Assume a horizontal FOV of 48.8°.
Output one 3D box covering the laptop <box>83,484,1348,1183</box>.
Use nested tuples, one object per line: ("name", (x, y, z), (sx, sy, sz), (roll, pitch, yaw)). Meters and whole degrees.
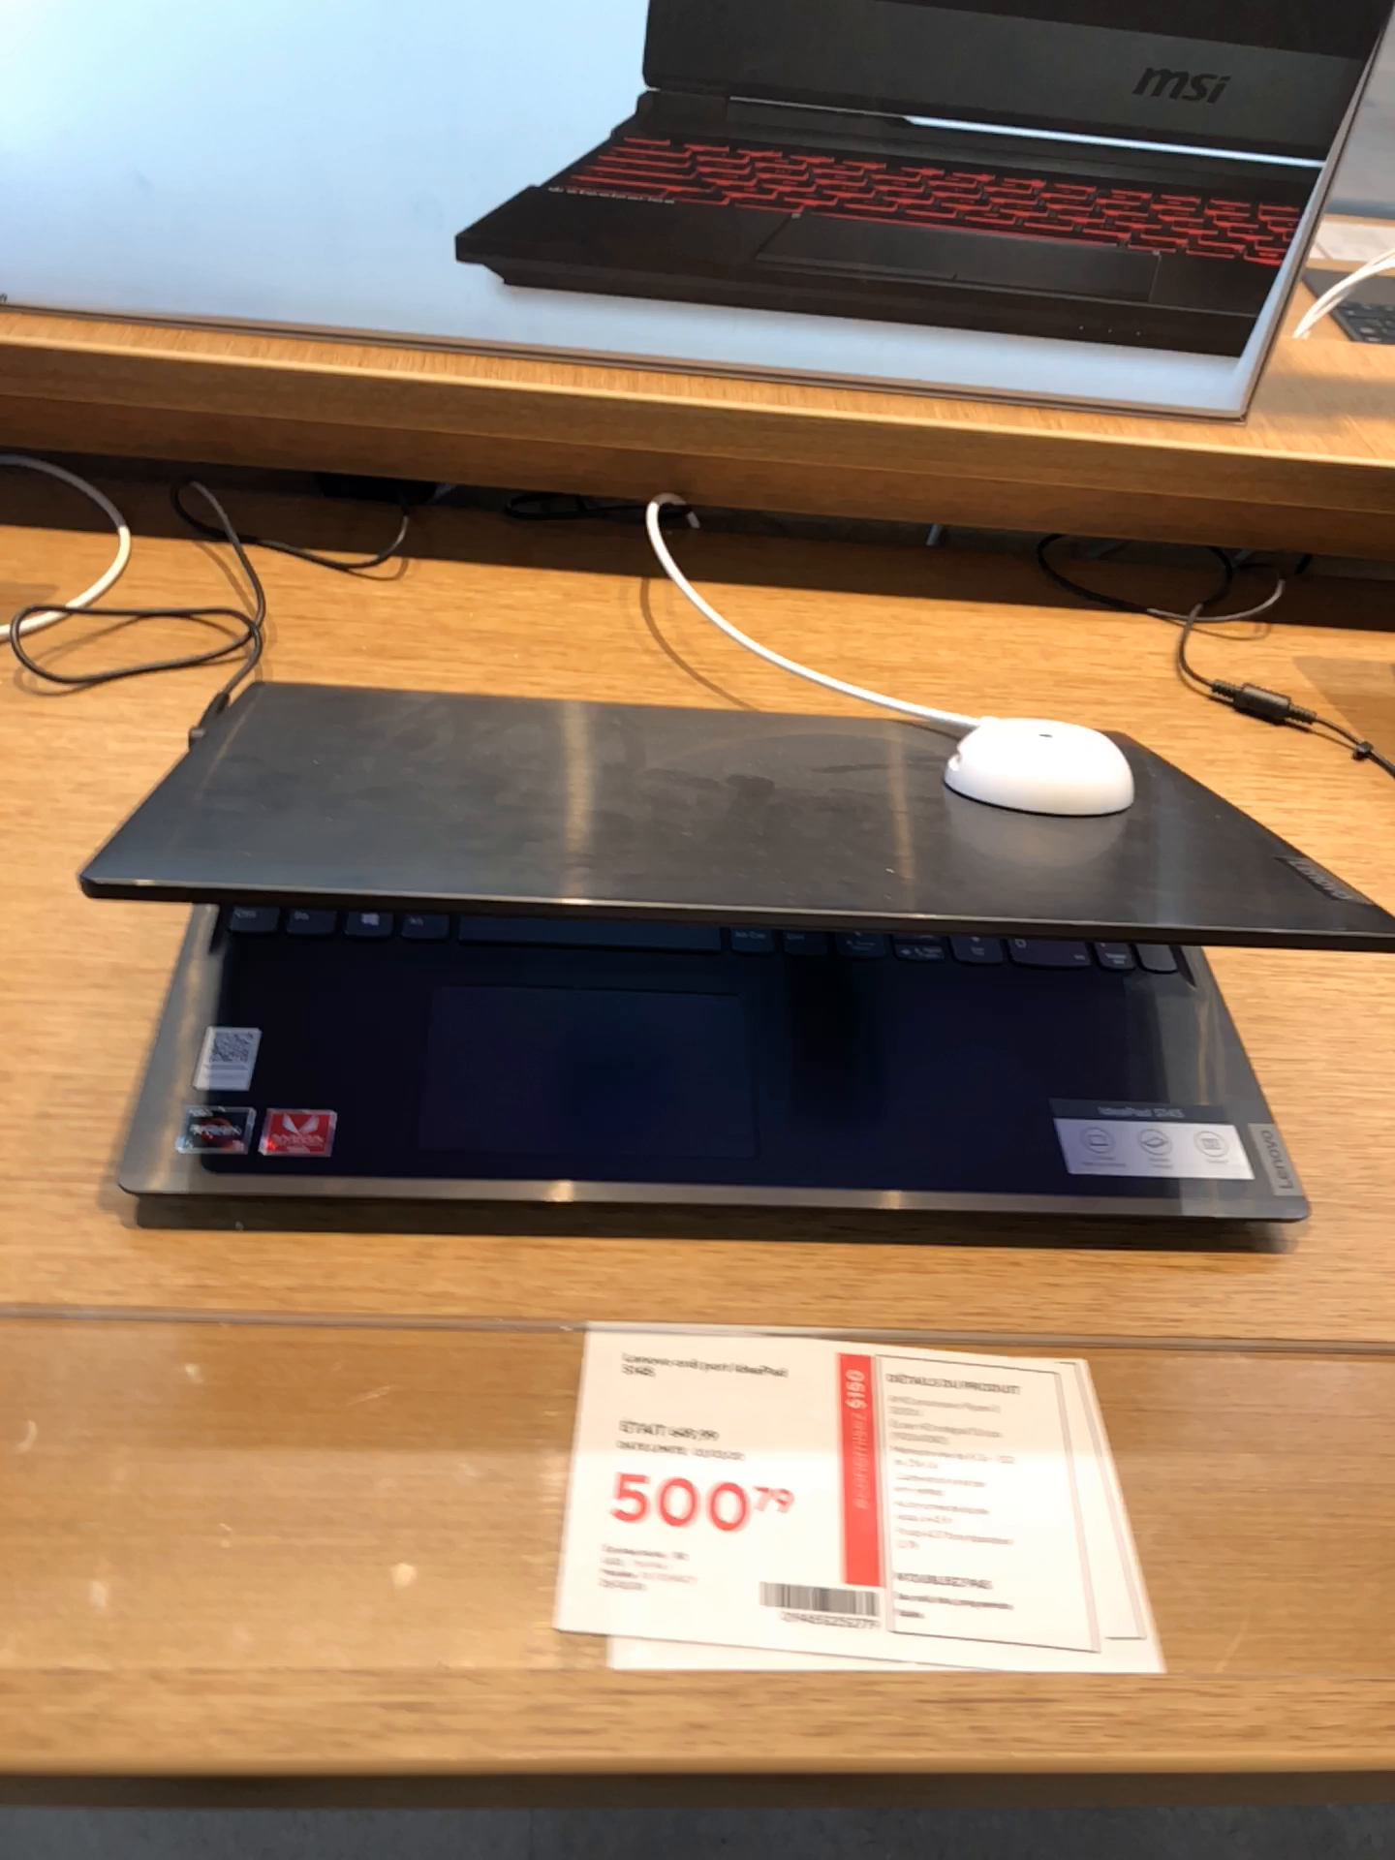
("laptop", (0.007, -0.037, 0.502), (0.330, 0.083, 0.224), (3, 44, -9))
